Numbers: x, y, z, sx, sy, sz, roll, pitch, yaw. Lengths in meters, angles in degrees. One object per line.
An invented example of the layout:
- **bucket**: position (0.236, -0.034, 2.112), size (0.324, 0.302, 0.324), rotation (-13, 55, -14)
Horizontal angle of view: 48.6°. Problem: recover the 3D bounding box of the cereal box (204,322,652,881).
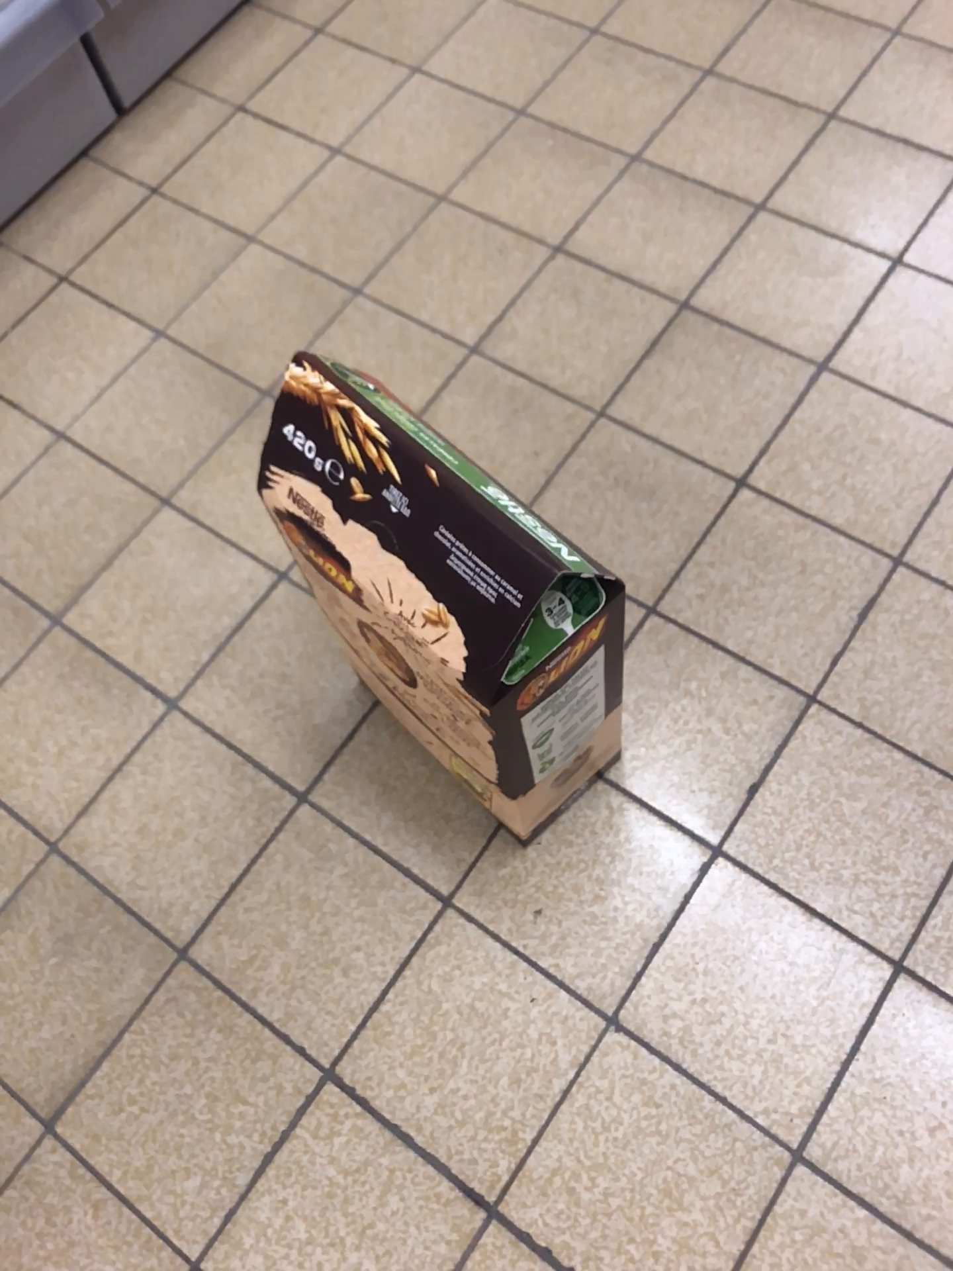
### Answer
- **cereal box**: position (-0.007, 0.004, 0.485), size (0.080, 0.249, 0.150), rotation (-43, 67, -13)
